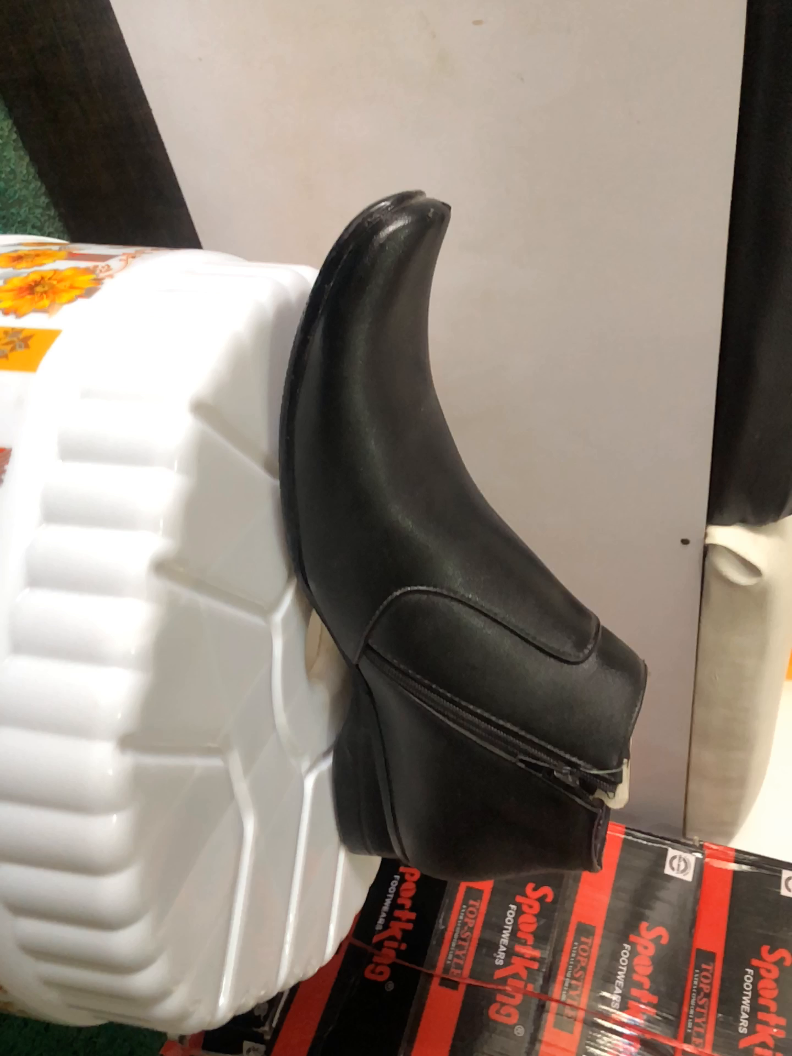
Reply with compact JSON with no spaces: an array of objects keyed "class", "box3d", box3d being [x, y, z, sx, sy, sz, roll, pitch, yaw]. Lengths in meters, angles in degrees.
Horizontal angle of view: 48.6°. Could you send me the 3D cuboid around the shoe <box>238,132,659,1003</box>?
[{"class":"shoe","box3d":[0.038,0.016,0.361,0.121,0.119,0.310,-47,136,-62]}]
